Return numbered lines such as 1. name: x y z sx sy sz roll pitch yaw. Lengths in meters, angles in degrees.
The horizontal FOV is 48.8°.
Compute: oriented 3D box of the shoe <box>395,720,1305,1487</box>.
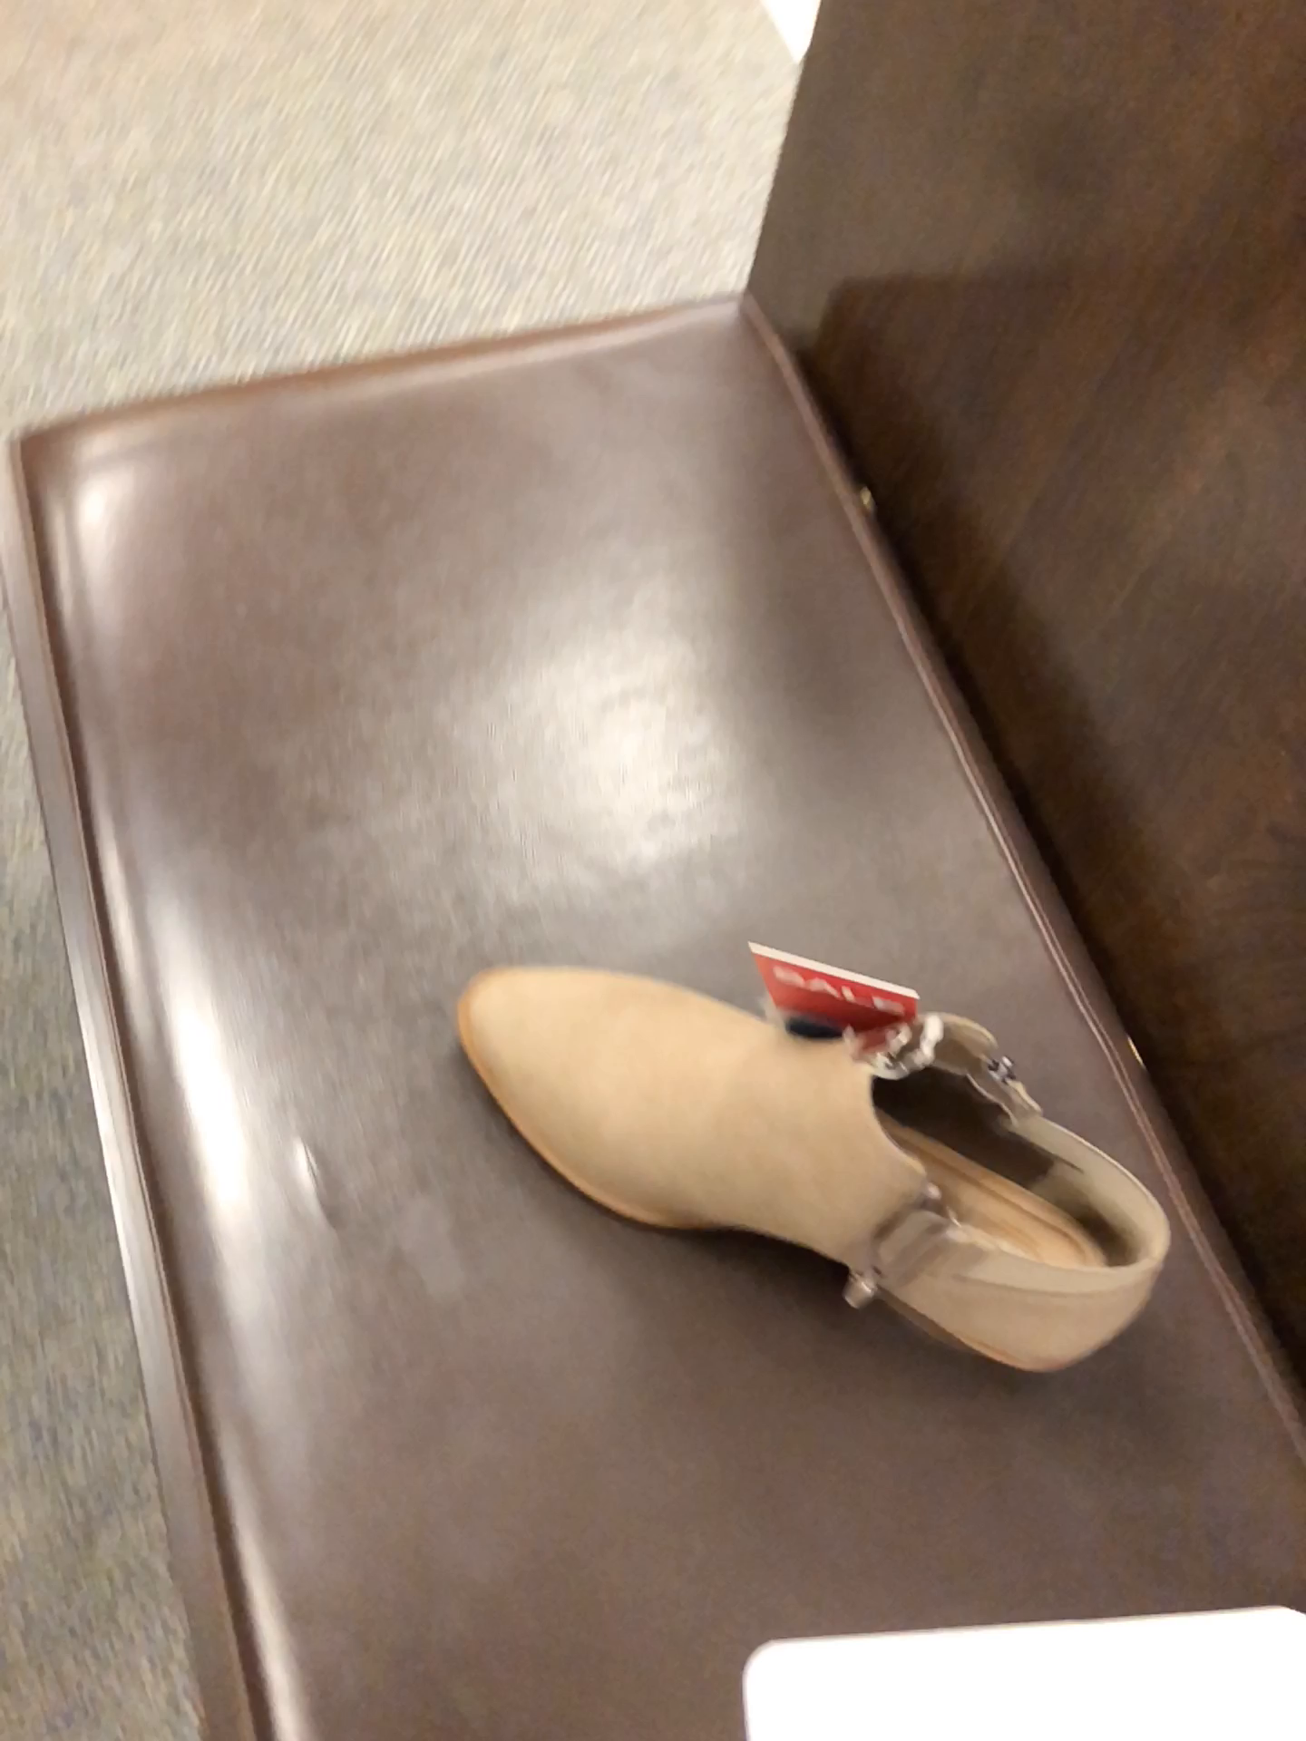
1. shoe: 0.053 0.083 0.477 0.260 0.133 0.096 30 62 7
